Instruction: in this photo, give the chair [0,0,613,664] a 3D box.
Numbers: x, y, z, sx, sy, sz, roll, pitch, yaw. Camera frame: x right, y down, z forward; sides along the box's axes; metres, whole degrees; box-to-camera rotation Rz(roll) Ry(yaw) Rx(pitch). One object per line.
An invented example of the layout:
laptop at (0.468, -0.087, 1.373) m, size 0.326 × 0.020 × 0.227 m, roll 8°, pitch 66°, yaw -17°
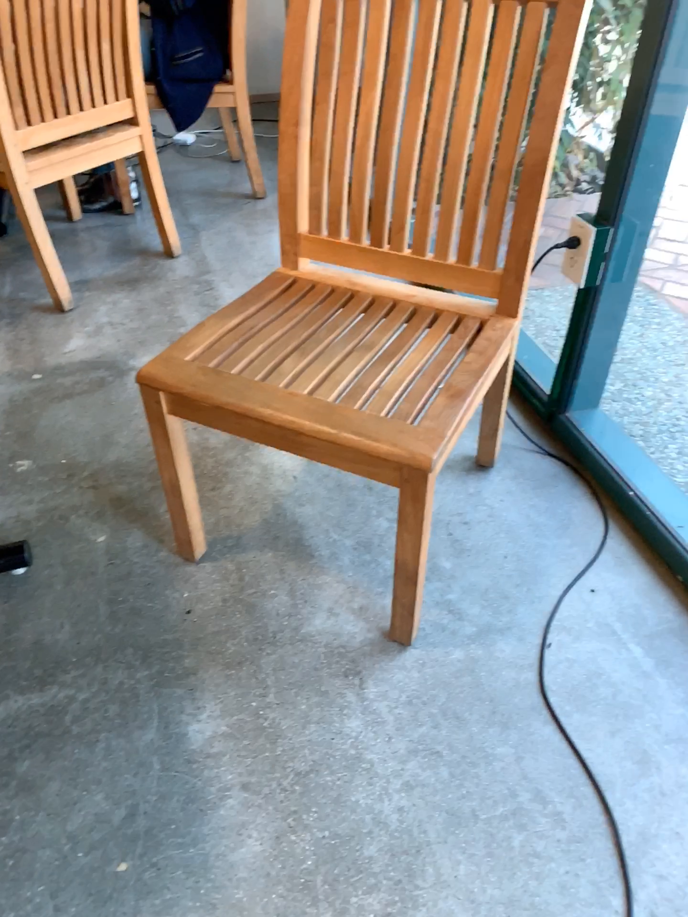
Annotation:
chair at (-0.002, -0.268, 1.141) m, size 0.531 × 0.915 × 0.612 m, roll 18°, pitch 44°, yaw 19°
